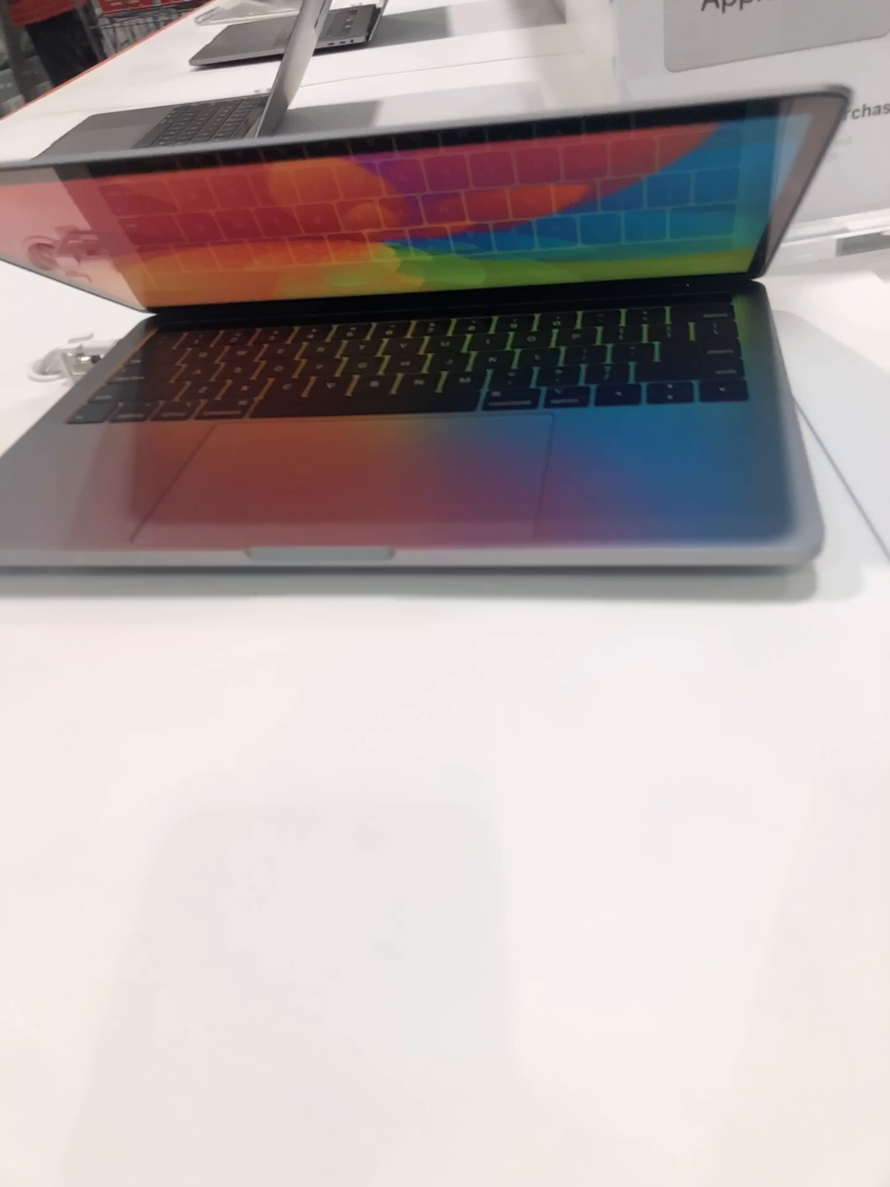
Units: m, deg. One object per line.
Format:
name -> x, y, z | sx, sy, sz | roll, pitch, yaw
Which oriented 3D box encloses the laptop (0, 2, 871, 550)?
laptop -> -0.030, -0.121, 0.352 | 0.297, 0.109, 0.211 | 0, 37, 12
